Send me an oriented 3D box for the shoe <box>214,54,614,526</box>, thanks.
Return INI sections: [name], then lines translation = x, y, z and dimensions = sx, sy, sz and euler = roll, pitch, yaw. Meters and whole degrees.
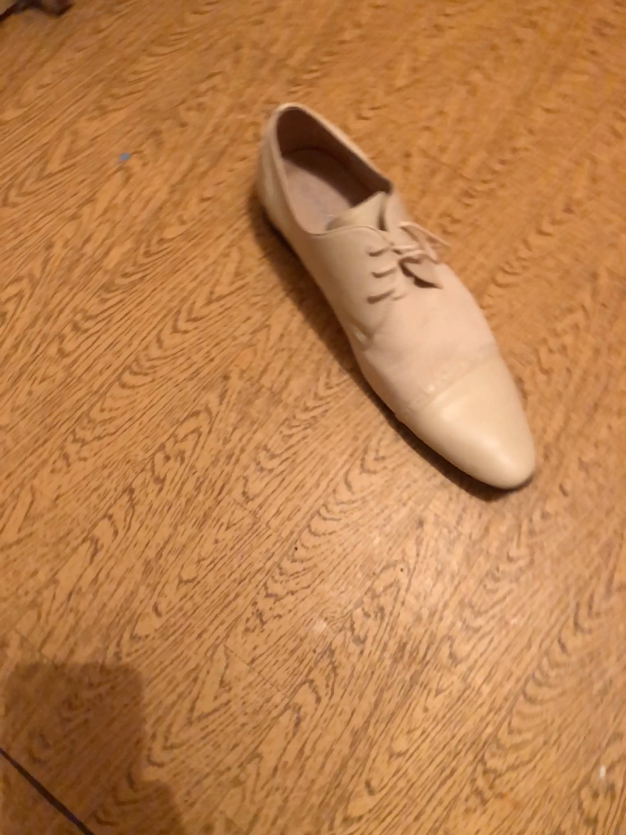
[shoe]
translation = 0.056, -0.088, 0.489
dimensions = 0.100, 0.100, 0.310
euler = -31, 77, -8
